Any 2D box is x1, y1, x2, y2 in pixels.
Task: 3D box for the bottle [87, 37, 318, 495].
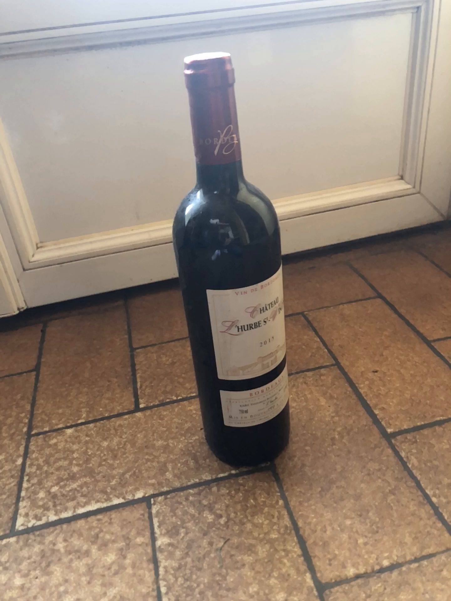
[{"bbox_3d":[-0.001,-0.014,0.345,0.090,0.288,0.090,-5,31,3],"label":"bottle"}]
